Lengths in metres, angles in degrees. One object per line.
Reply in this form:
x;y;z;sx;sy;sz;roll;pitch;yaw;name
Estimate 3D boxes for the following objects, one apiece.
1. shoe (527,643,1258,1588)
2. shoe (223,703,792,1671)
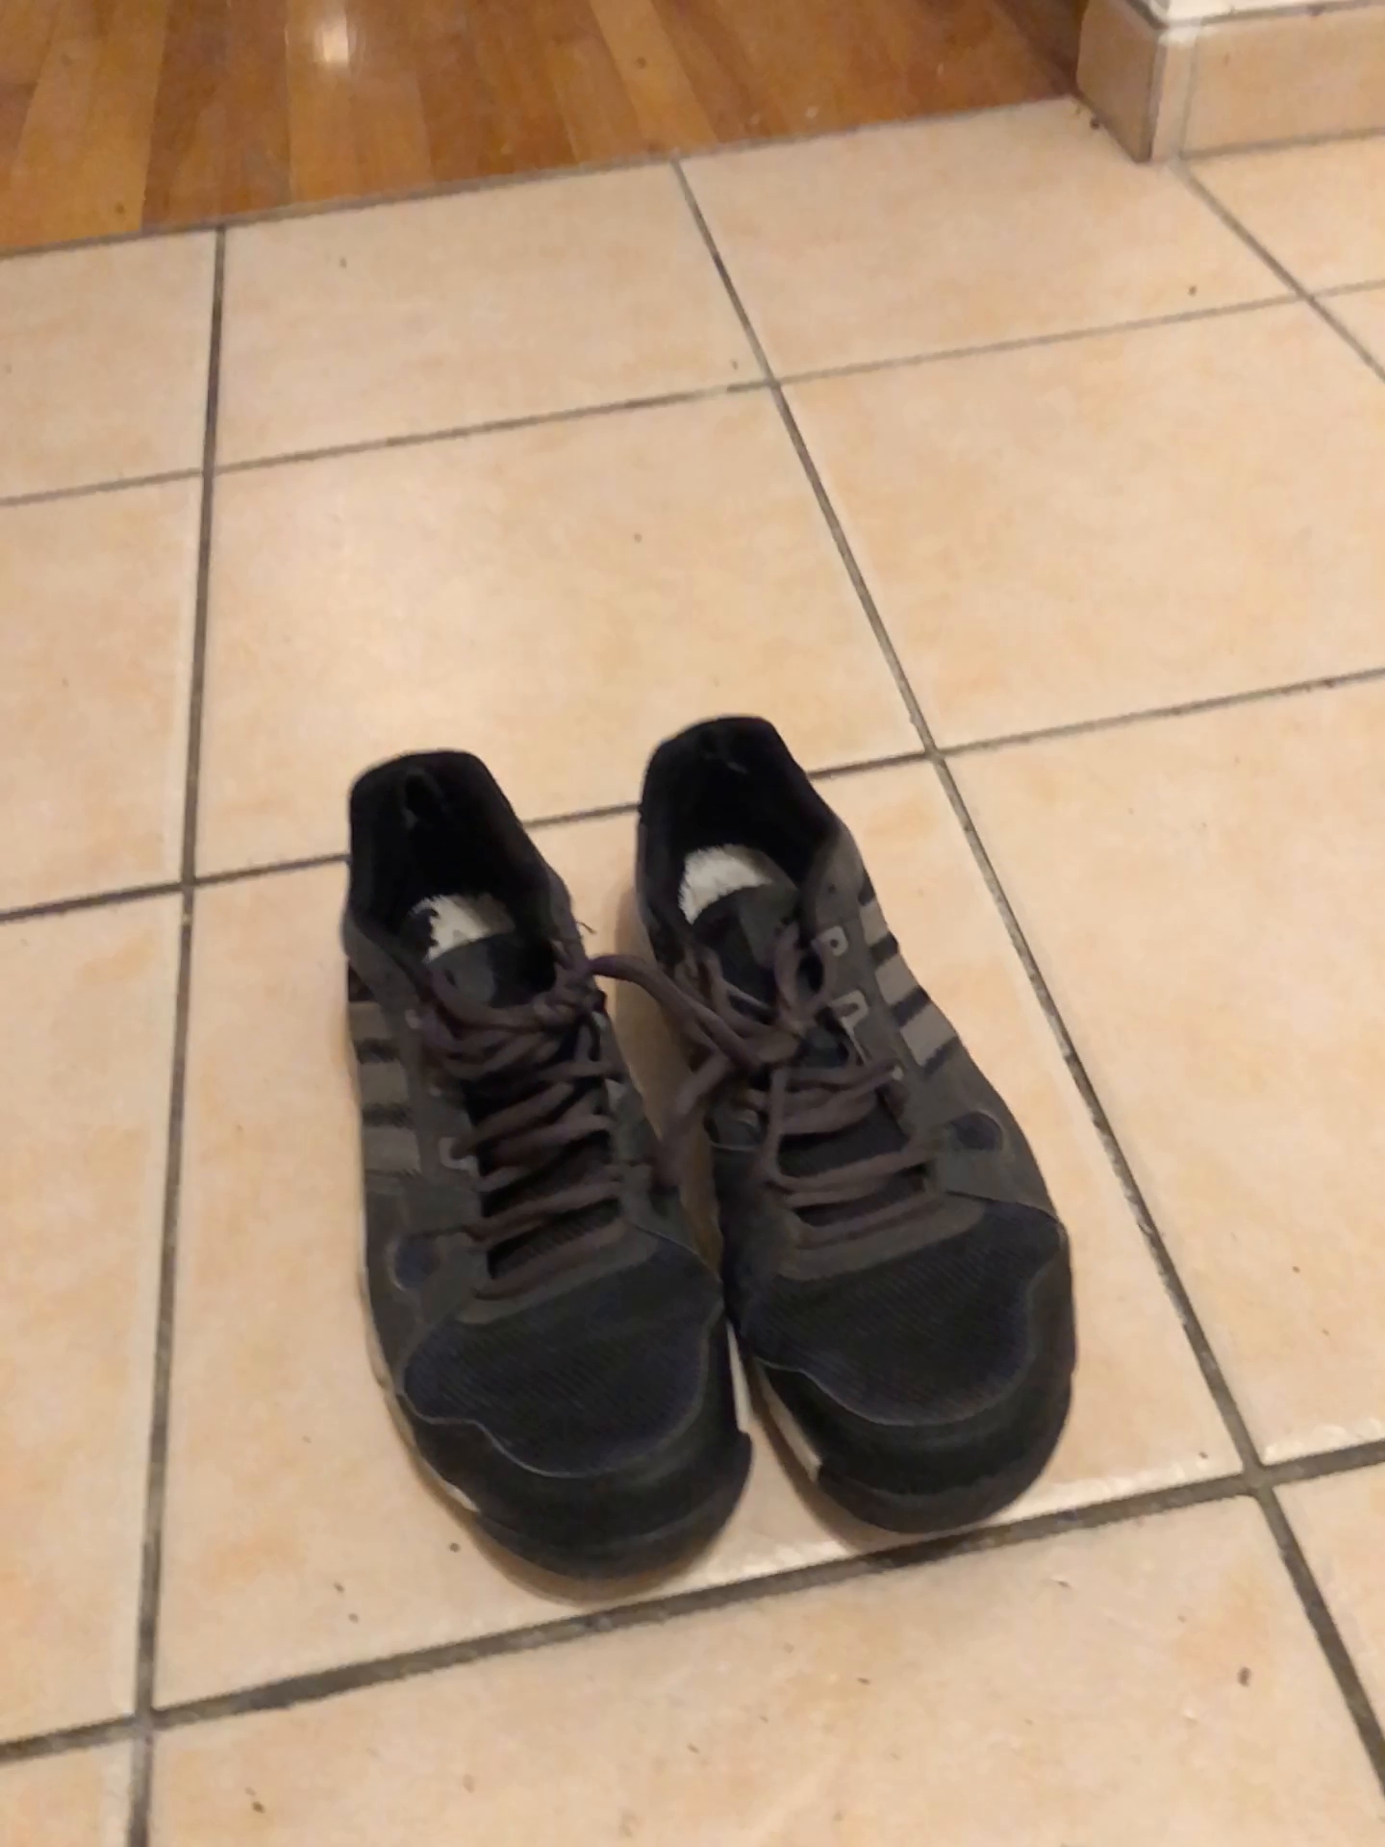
0.044;0.043;0.502;0.120;0.099;0.282;-16;48;-9;shoe
-0.070;0.063;0.491;0.110;0.099;0.282;-13;48;-12;shoe
